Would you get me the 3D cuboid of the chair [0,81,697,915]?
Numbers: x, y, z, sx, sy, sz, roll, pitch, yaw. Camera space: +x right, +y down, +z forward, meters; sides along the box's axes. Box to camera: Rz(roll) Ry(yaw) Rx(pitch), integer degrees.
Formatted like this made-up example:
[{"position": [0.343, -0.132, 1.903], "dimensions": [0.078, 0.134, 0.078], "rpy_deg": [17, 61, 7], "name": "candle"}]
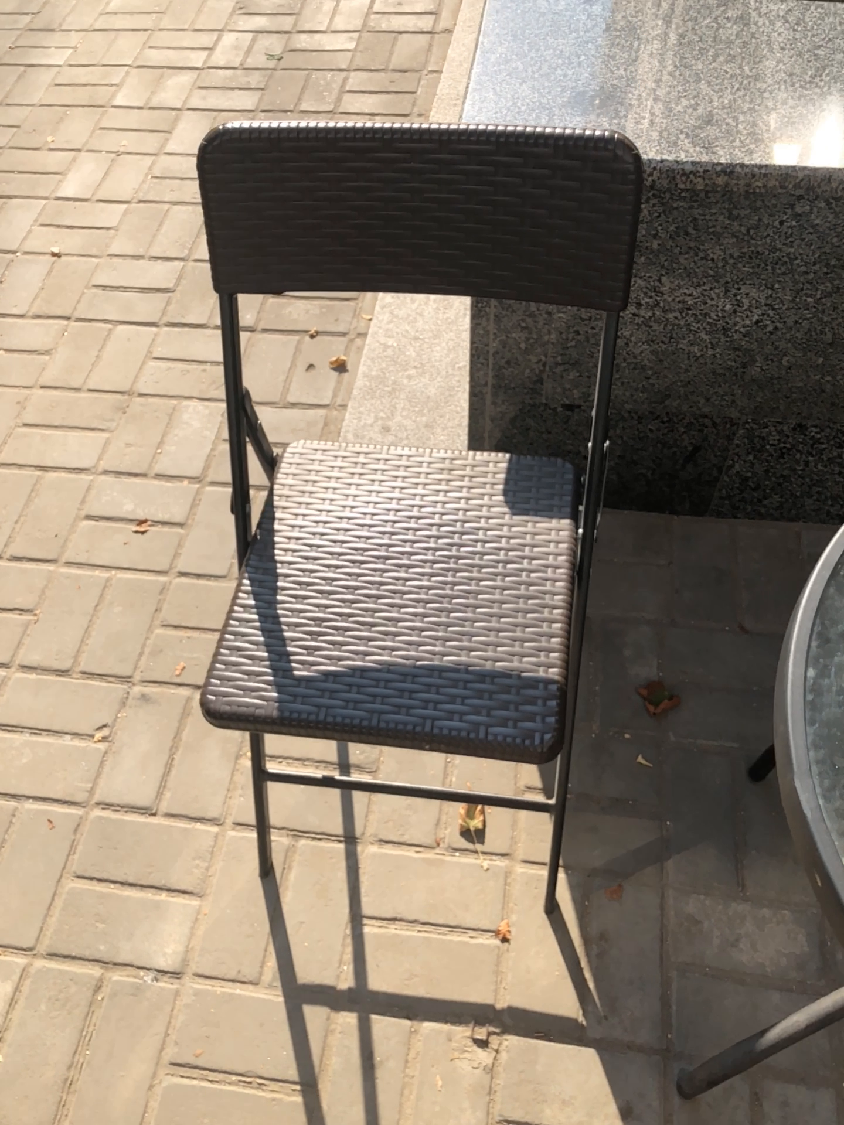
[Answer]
[{"position": [-0.026, 0.010, 0.984], "dimensions": [0.430, 0.788, 0.461], "rpy_deg": [4, 55, 5], "name": "chair"}]
